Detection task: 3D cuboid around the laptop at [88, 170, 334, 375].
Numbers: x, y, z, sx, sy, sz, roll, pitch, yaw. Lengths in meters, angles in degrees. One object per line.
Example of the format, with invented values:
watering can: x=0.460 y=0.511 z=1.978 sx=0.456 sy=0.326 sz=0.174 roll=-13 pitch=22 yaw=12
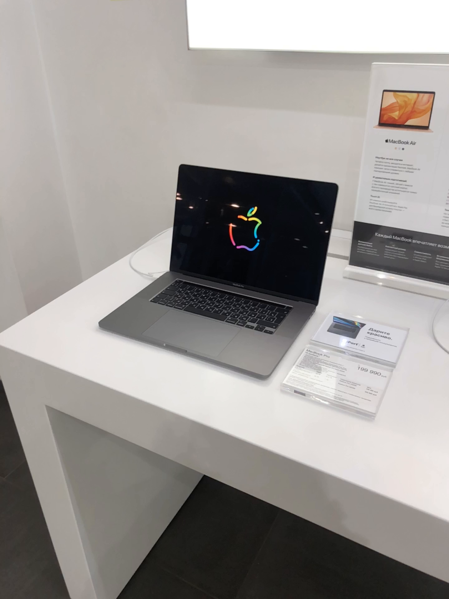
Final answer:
laptop: x=-0.008 y=-0.078 z=0.917 sx=0.328 sy=0.209 sz=0.311 roll=13 pitch=34 yaw=24
